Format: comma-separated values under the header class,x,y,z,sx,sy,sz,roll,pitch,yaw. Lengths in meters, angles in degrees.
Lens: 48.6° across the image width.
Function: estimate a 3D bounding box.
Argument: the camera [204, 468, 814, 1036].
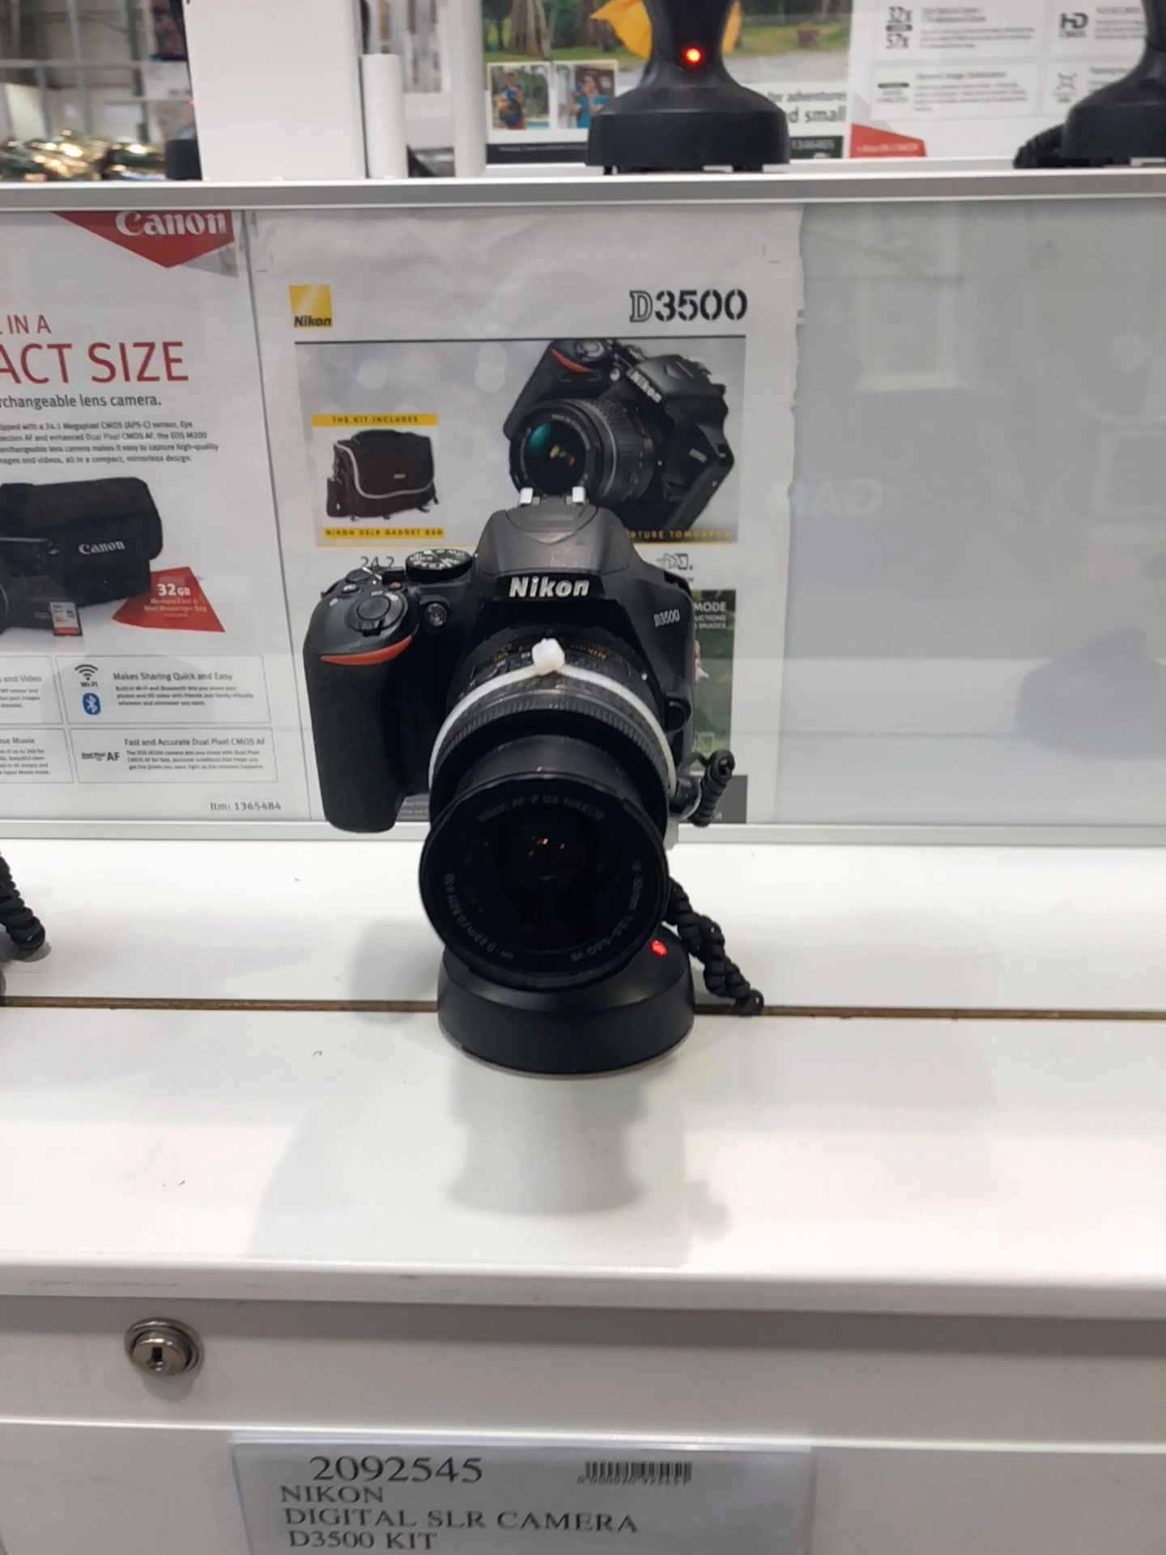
class,x,y,z,sx,sy,sz,roll,pitch,yaw
camera,-0.018,-0.022,0.406,0.140,0.110,0.191,-1,24,-1
